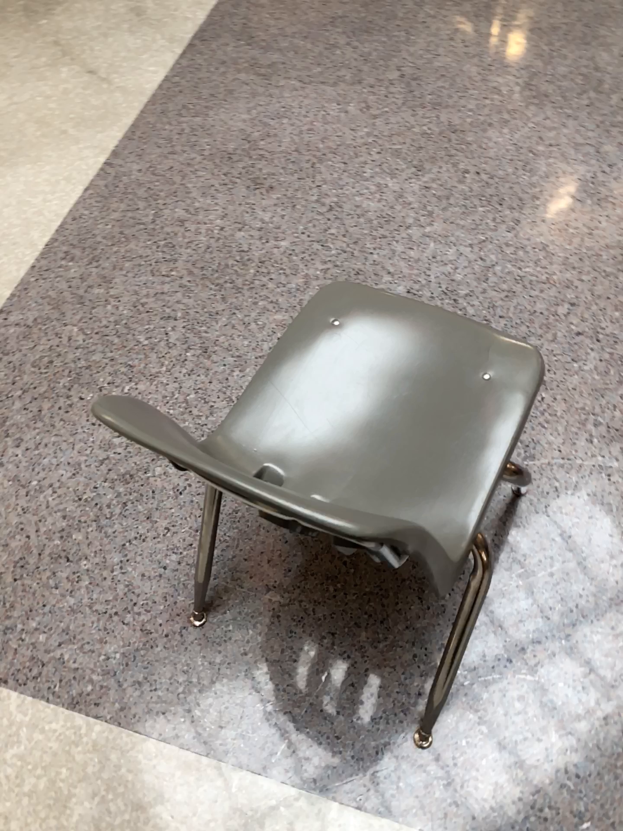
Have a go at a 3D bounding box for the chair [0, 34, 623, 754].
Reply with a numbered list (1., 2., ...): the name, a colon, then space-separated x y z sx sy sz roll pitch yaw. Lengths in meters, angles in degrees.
1. chair: 0.062 0.013 0.913 0.511 0.667 0.552 23 62 18
